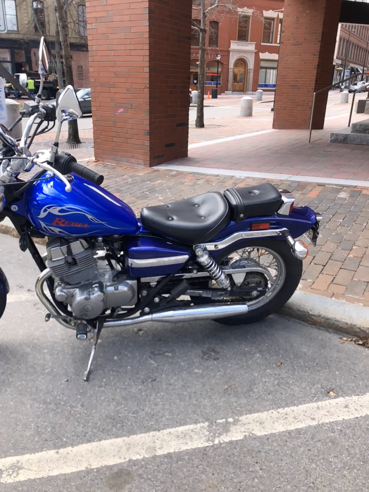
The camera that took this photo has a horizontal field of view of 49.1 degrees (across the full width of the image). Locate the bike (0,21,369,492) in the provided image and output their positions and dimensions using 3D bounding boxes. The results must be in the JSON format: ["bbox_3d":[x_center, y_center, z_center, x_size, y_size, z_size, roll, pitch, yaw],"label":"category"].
[{"bbox_3d":[-0.260,0.024,1.587,2.026,1.180,0.928,-3,21,-20],"label":"bike"}]
